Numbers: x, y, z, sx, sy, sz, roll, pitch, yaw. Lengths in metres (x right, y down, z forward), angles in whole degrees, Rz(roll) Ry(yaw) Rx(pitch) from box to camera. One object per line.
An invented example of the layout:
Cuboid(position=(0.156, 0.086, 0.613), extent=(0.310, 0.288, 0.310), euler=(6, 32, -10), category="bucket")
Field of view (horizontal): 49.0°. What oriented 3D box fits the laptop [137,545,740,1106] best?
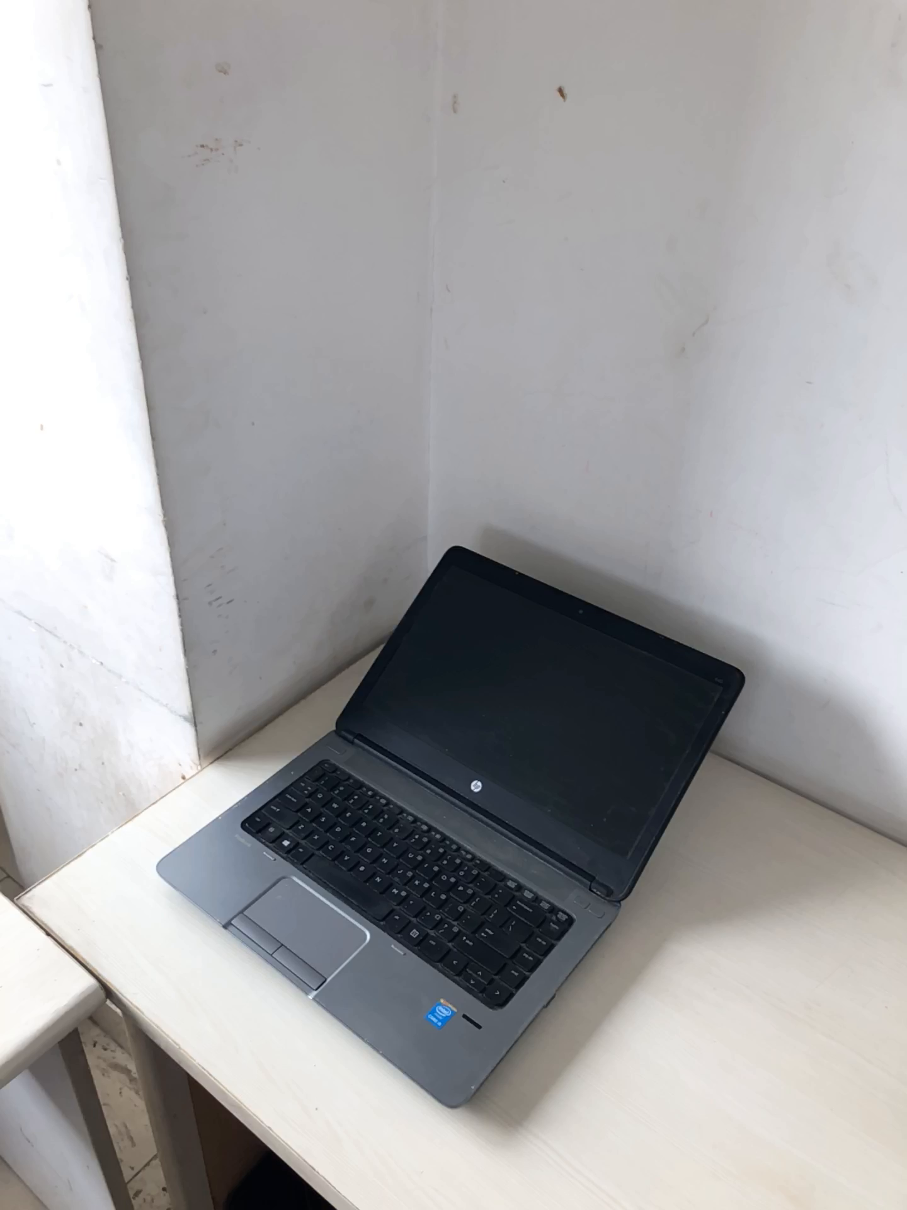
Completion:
Cuboid(position=(0.002, 0.147, 0.885), extent=(0.328, 0.137, 0.407), euler=(27, 42, 29), category="laptop")
